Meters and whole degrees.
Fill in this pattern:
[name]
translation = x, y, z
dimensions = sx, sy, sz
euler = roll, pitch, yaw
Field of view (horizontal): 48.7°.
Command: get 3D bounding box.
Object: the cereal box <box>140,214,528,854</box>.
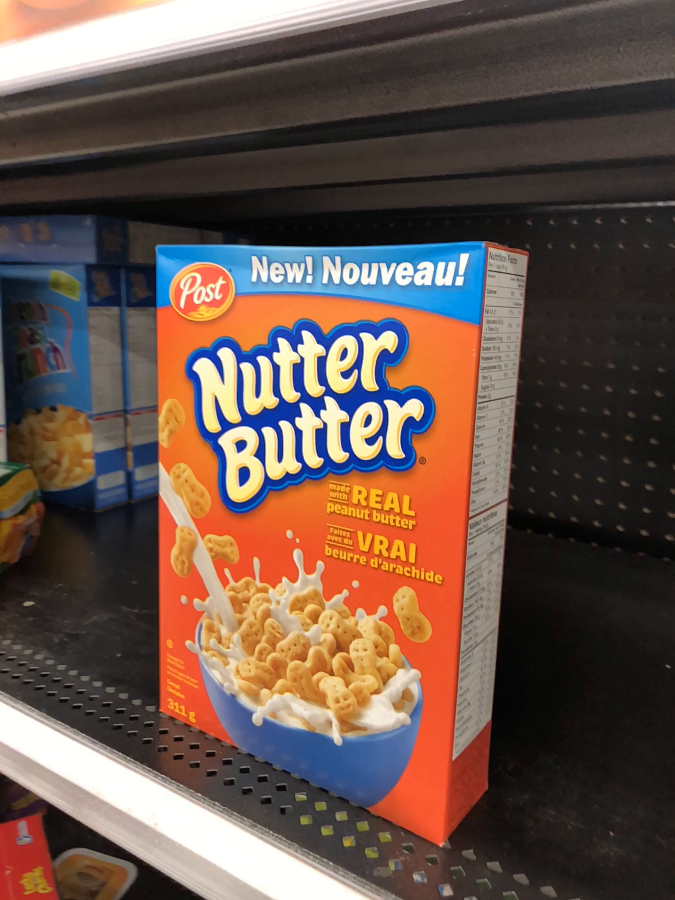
[cereal box]
translation = -0.012, 0.029, 0.390
dimensions = 0.190, 0.279, 0.060
euler = 9, 13, 34
